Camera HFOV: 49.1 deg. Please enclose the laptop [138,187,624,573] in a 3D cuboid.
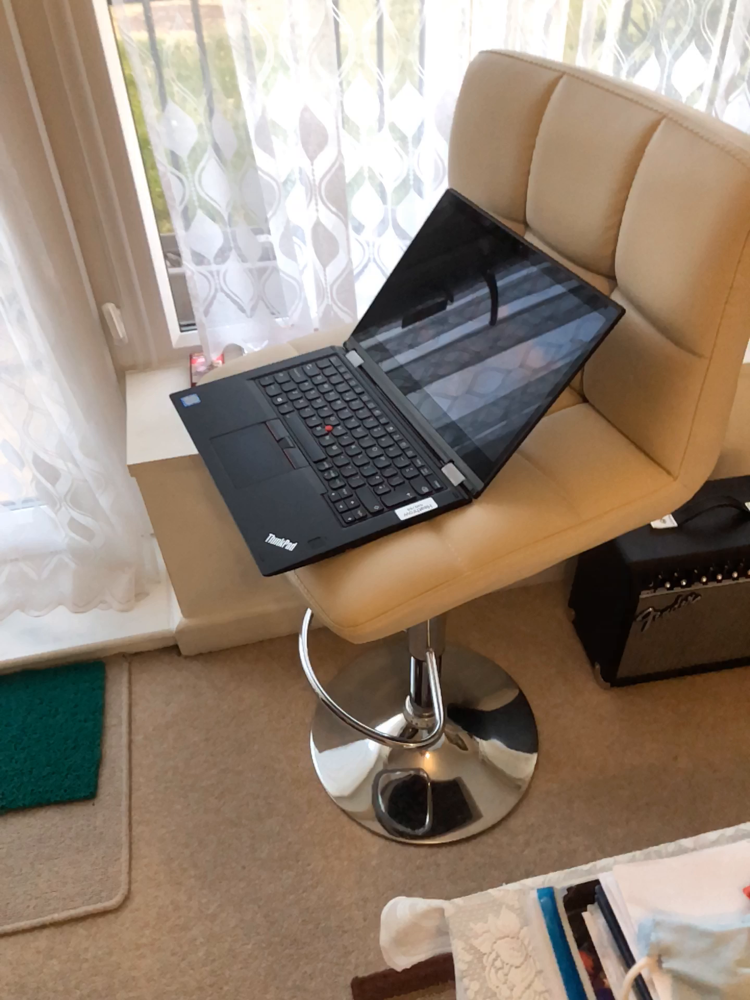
[{"bbox_3d":[-0.007,-0.147,0.844,0.366,0.165,0.310,-20,46,-17],"label":"laptop"}]
